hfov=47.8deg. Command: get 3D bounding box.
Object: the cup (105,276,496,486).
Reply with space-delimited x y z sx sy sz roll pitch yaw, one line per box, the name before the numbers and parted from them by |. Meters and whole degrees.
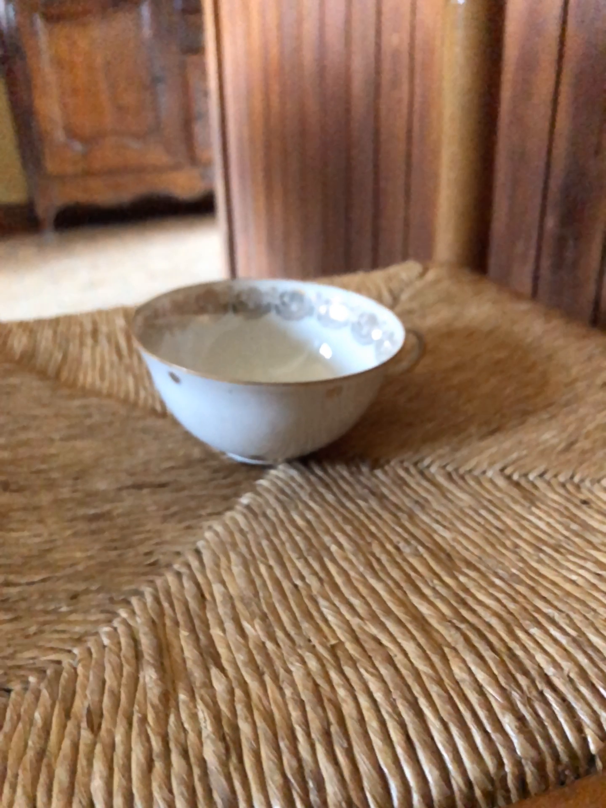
cup | -0.013 -0.021 0.307 0.140 0.040 0.130 3 24 -1
